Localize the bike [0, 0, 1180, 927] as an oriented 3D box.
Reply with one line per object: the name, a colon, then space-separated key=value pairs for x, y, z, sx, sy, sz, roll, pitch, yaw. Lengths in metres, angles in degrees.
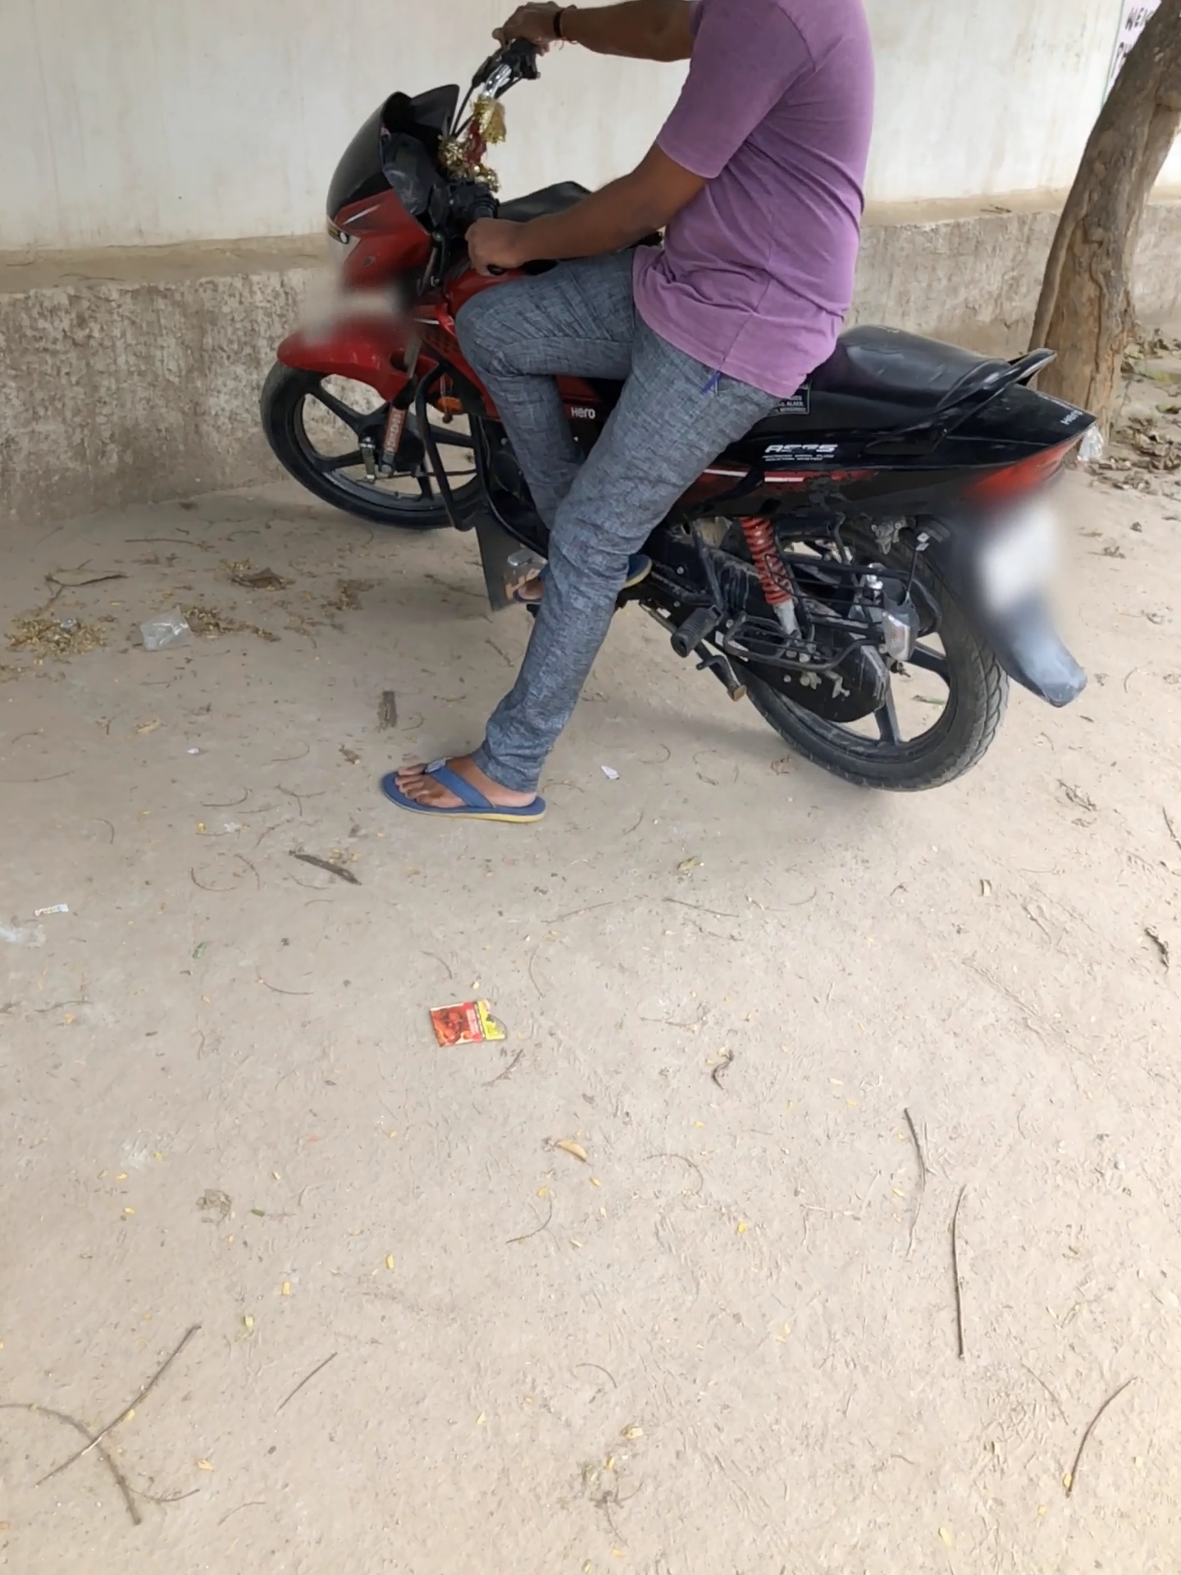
bike: x=-0.101 y=-0.778 z=2.160 sx=1.698 sy=1.086 sz=0.745 roll=26 pitch=37 yaw=23
